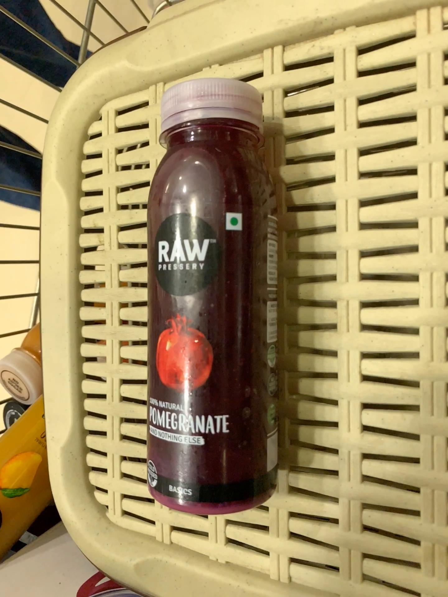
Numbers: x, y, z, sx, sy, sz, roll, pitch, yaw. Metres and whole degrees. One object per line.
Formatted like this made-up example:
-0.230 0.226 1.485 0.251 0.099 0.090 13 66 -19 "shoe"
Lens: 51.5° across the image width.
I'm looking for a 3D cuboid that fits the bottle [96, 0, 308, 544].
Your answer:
-0.007 -0.008 0.171 0.060 0.050 0.160 1 92 27 "bottle"
